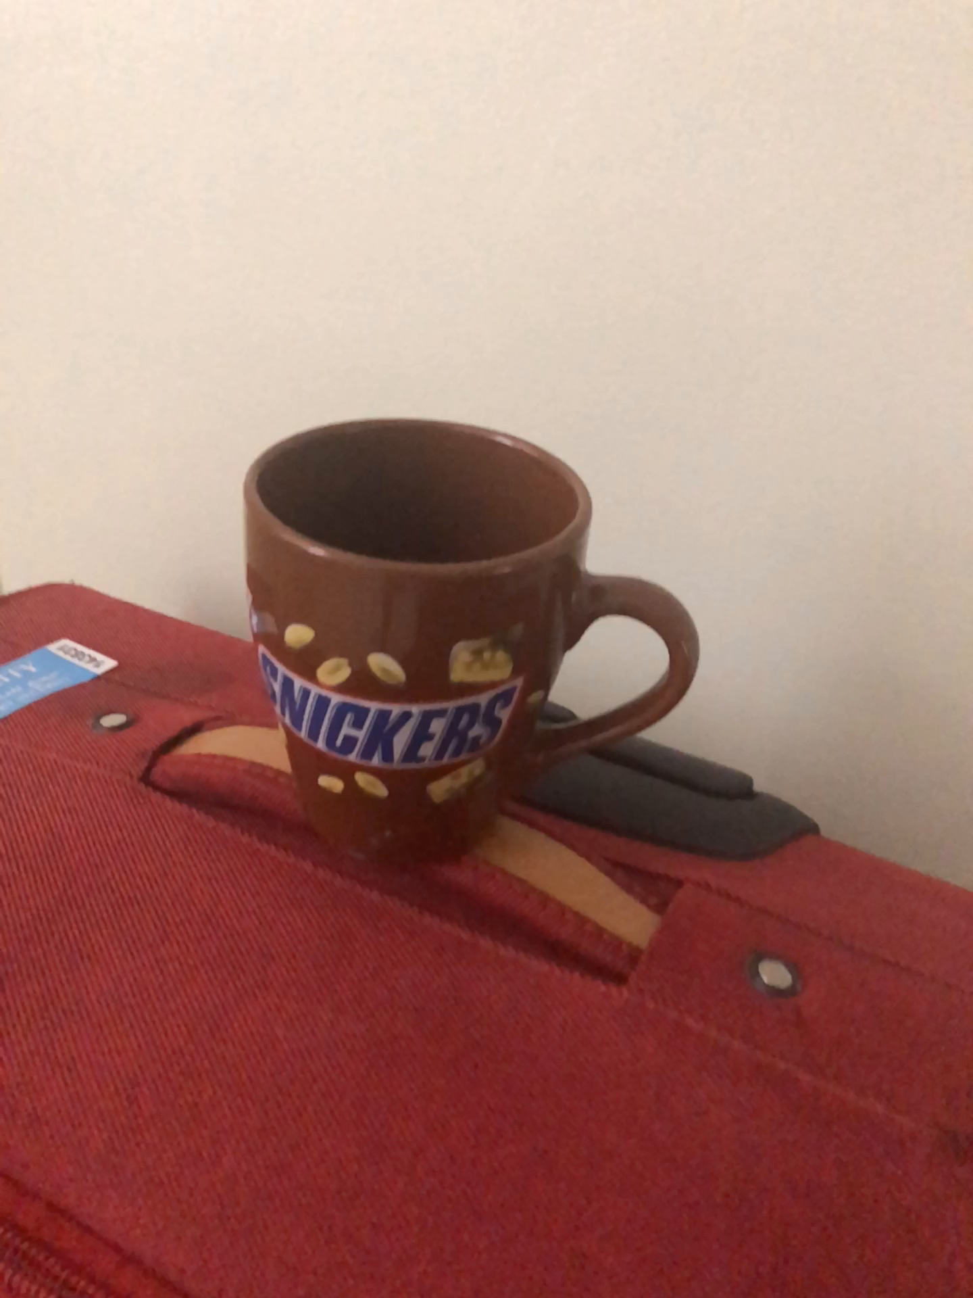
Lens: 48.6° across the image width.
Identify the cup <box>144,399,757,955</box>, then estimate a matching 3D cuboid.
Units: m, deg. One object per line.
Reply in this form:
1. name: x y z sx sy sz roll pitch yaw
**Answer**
1. cup: -0.004 -0.001 0.267 0.115 0.080 0.088 14 34 18
